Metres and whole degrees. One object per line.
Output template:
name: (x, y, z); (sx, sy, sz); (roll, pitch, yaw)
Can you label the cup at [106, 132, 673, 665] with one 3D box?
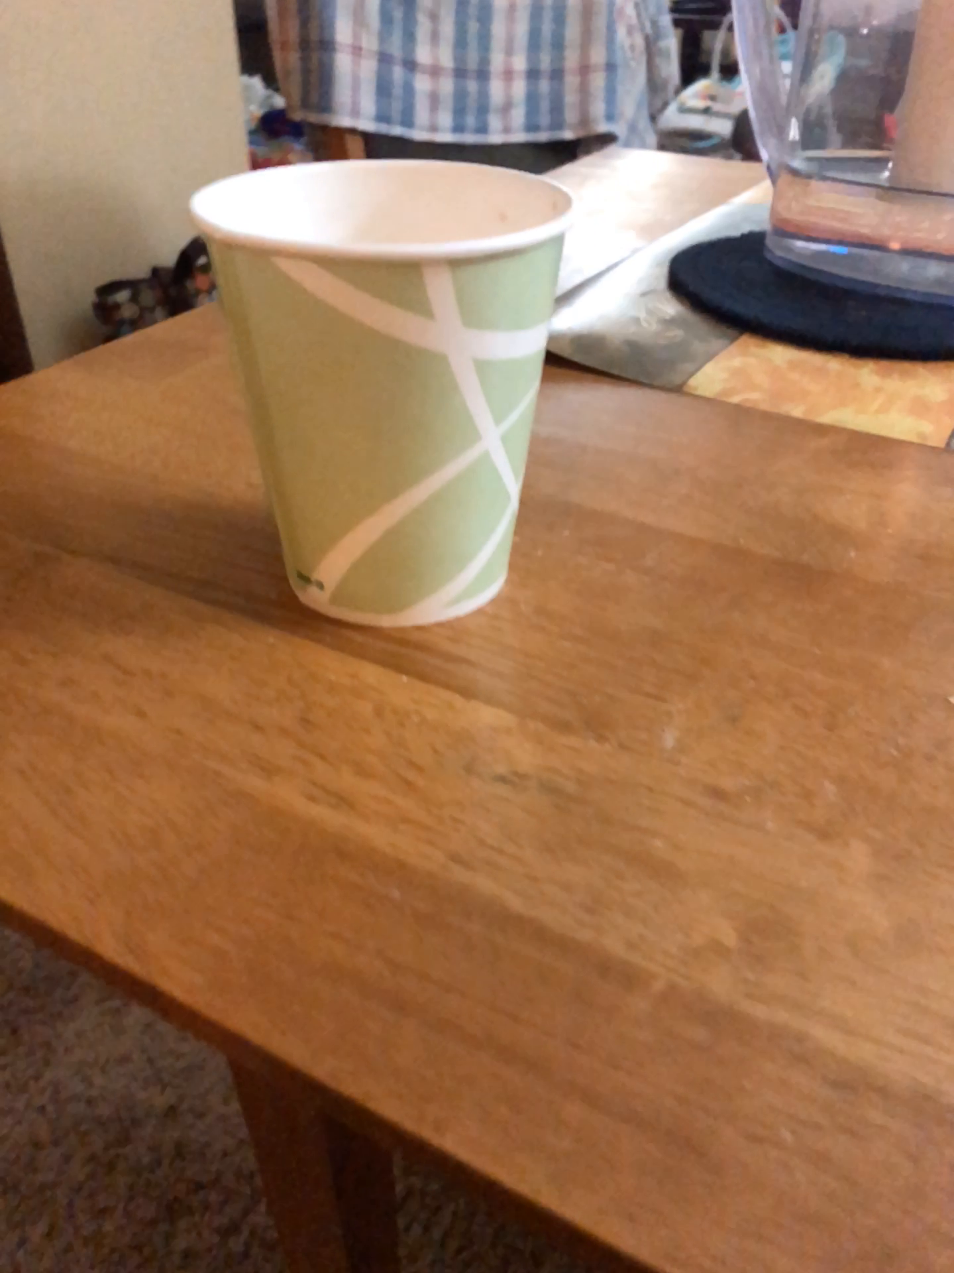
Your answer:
cup: (-0.015, -0.068, 0.269); (0.090, 0.090, 0.100); (18, 38, 24)
